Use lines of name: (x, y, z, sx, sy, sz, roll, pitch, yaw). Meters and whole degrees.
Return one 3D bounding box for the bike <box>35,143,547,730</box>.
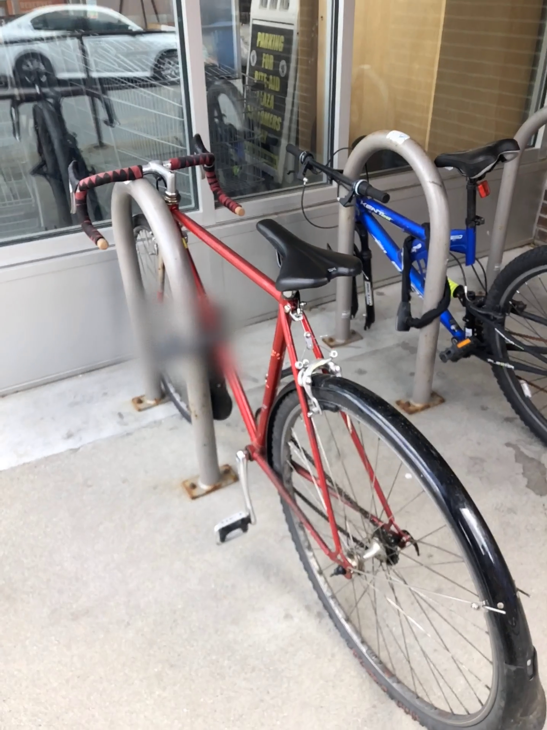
bike: (-0.084, 0.090, 1.508, 0.459, 0.787, 1.696, -18, 39, -24)
